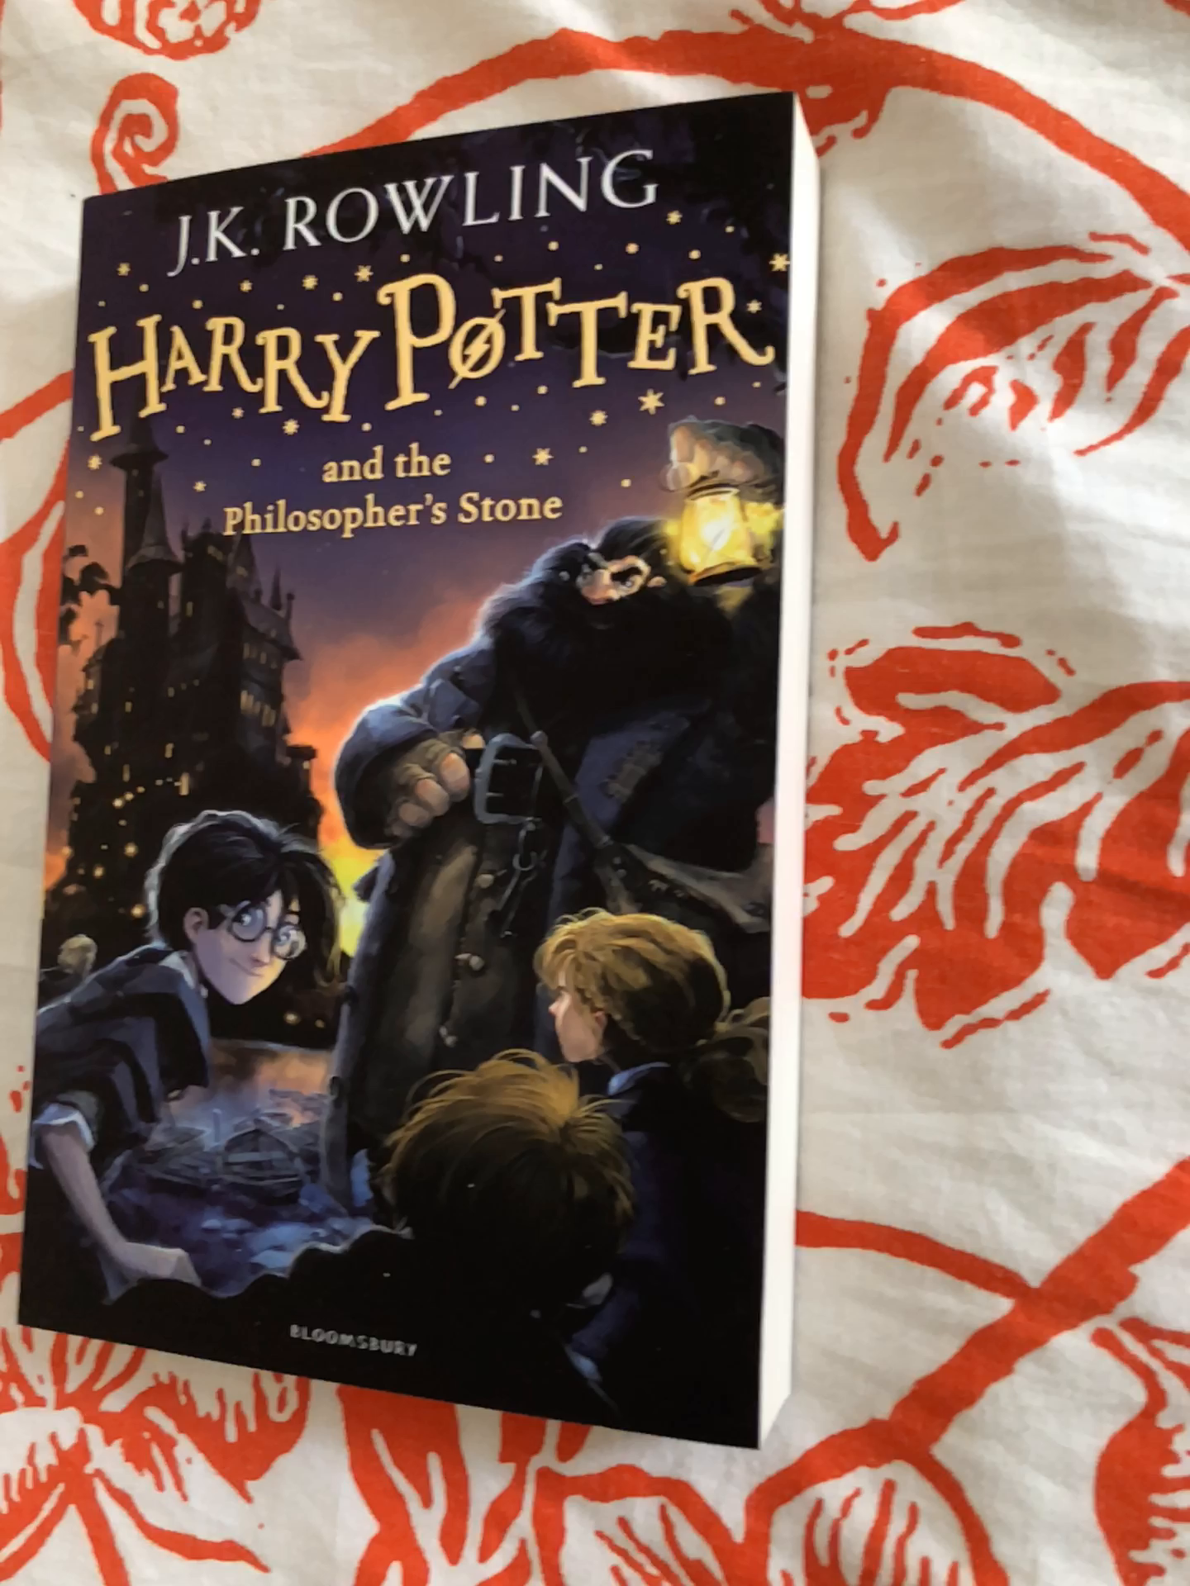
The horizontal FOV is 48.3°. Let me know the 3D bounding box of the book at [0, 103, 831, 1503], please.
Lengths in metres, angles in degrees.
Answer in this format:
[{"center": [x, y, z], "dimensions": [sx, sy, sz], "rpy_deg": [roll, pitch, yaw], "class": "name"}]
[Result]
[{"center": [-0.033, -0.003, 0.208], "dimensions": [0.127, 0.020, 0.189], "rpy_deg": [3, 88, 18], "class": "book"}]
